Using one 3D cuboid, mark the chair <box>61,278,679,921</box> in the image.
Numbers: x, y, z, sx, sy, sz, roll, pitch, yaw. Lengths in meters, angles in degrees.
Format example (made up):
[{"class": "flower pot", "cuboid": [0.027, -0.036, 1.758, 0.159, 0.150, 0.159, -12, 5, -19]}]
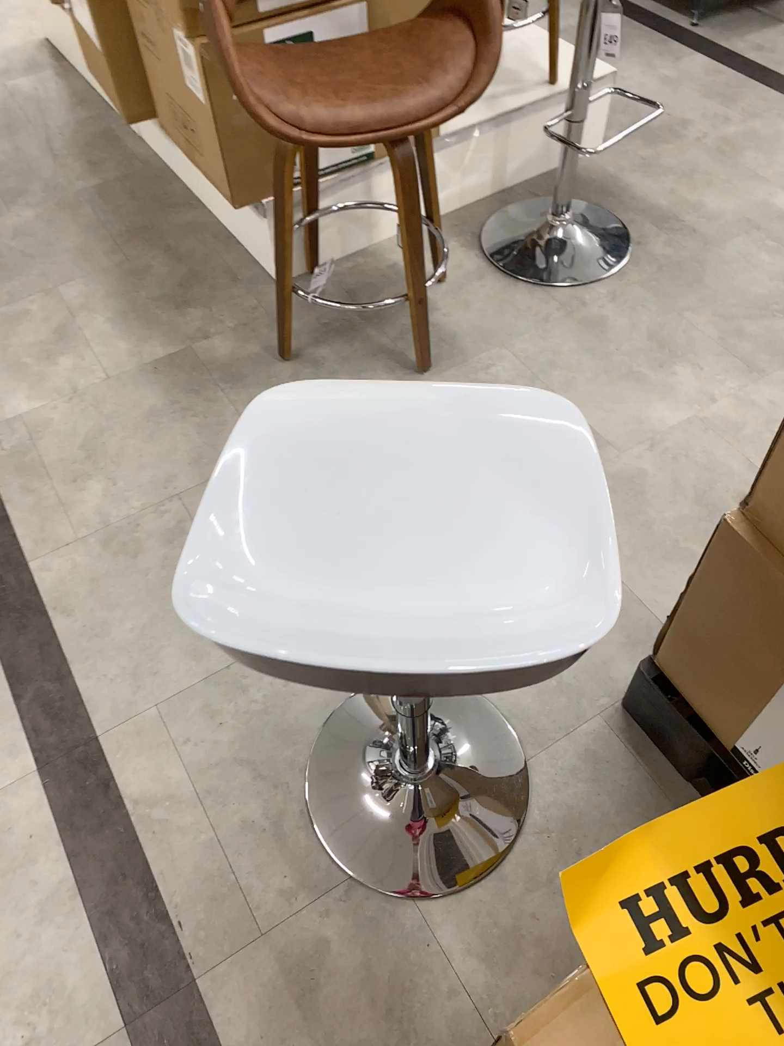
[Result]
[{"class": "chair", "cuboid": [0.009, 0.164, 1.006, 0.435, 0.793, 0.438, 2, 53, 4]}]
